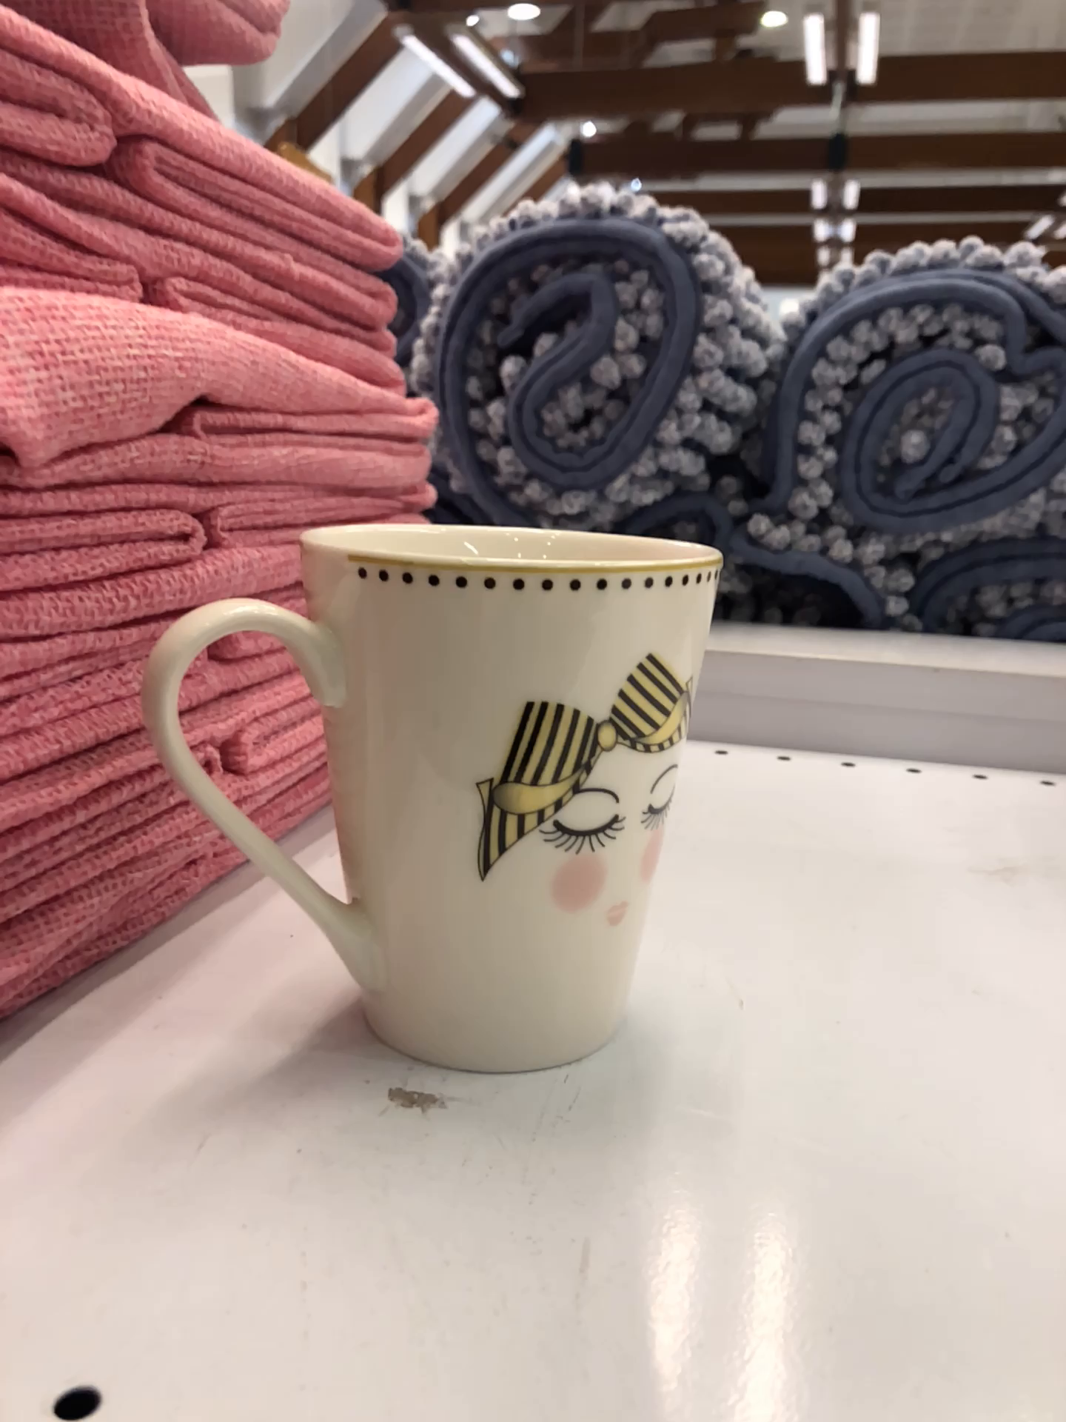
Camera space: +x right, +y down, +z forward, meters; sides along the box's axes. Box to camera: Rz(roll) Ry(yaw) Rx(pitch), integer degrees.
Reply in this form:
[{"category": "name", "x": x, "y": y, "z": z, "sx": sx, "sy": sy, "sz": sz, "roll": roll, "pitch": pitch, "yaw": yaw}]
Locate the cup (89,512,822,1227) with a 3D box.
[{"category": "cup", "x": -0.015, "y": 0.015, "z": 0.242, "sx": 0.110, "sy": 0.100, "sz": 0.090, "roll": -10, "pitch": 18, "yaw": -41}]
